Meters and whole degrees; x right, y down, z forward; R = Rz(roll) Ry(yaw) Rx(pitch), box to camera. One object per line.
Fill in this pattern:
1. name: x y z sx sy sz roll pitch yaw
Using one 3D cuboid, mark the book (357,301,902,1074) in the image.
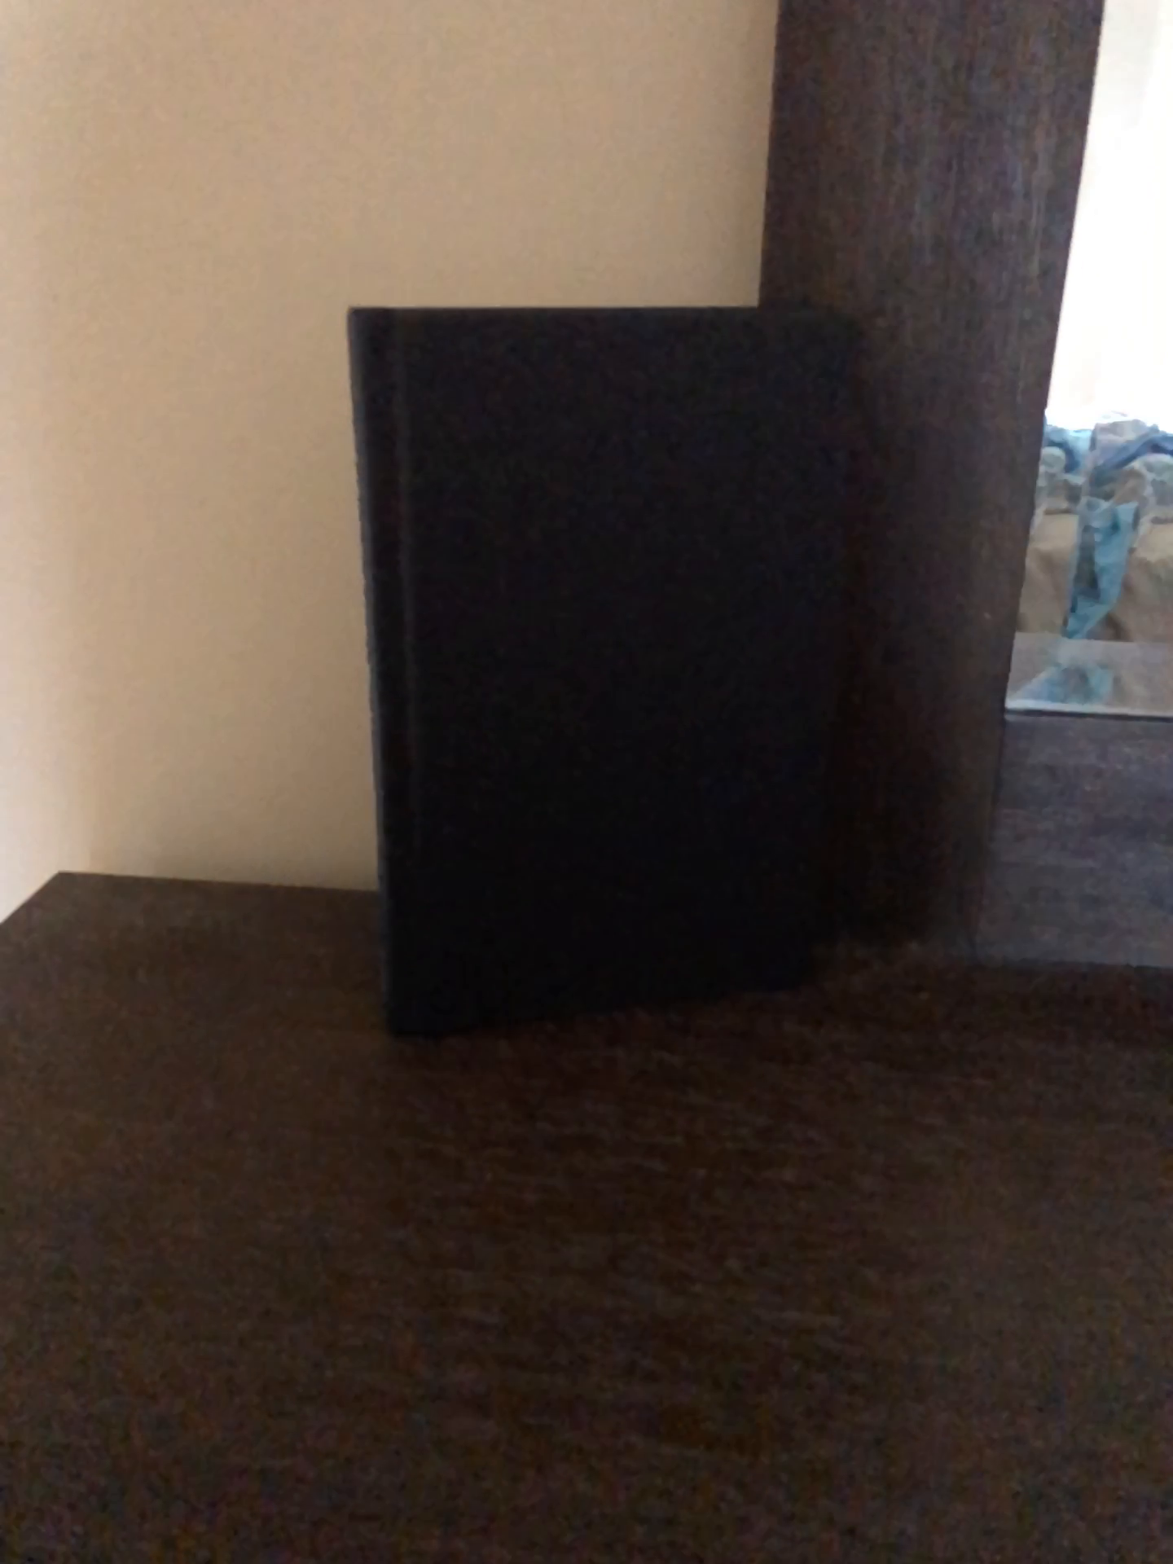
1. book: 0.012 -0.026 0.400 0.150 0.229 0.028 -5 21 -14
